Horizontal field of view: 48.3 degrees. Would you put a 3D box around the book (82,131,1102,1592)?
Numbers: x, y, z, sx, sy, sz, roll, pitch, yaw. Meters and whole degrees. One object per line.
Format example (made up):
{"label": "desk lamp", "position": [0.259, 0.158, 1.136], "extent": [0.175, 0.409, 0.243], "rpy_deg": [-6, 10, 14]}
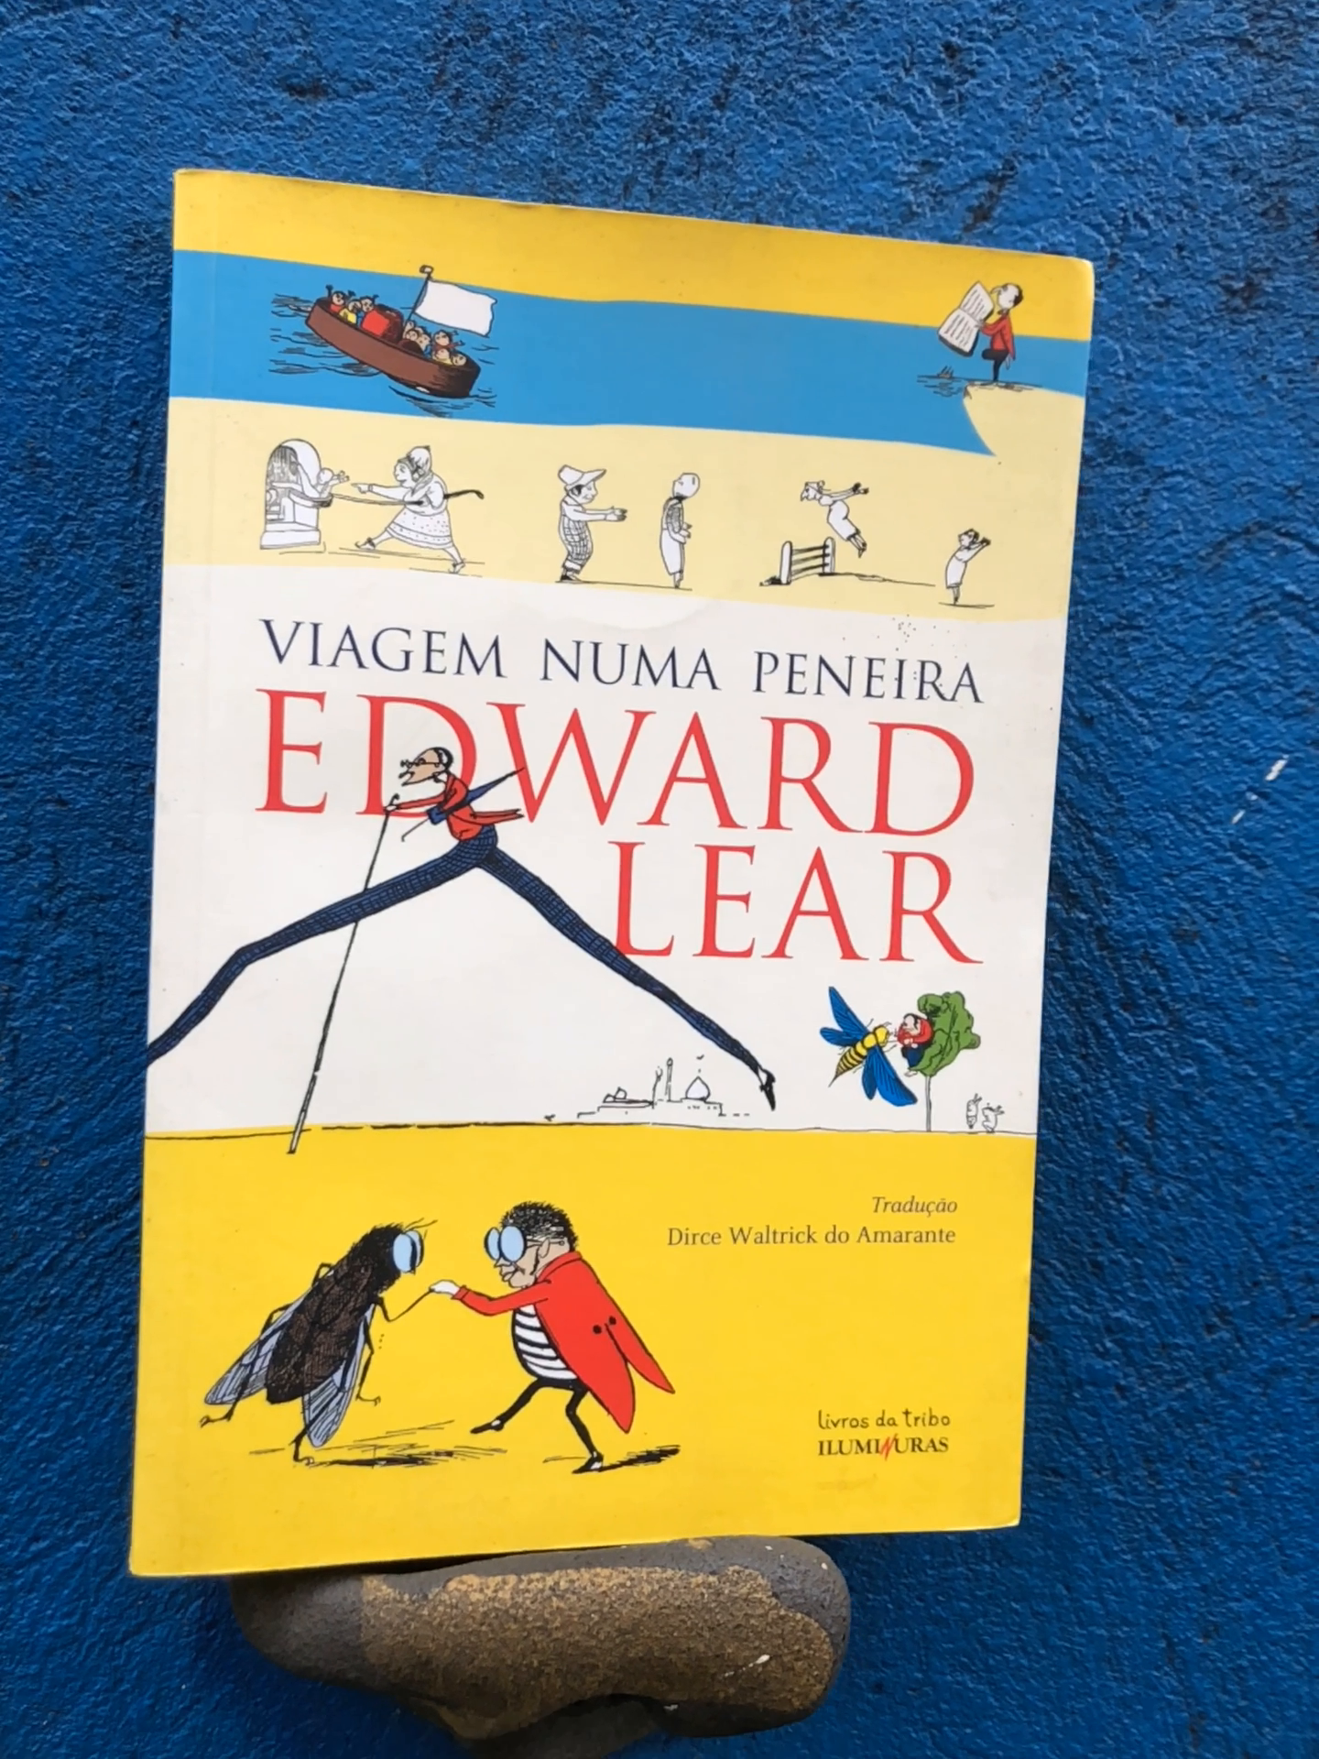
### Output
{"label": "book", "position": [-0.009, 0.001, 0.249], "extent": [0.158, 0.220, 0.021], "rpy_deg": [2, 3, -13]}
